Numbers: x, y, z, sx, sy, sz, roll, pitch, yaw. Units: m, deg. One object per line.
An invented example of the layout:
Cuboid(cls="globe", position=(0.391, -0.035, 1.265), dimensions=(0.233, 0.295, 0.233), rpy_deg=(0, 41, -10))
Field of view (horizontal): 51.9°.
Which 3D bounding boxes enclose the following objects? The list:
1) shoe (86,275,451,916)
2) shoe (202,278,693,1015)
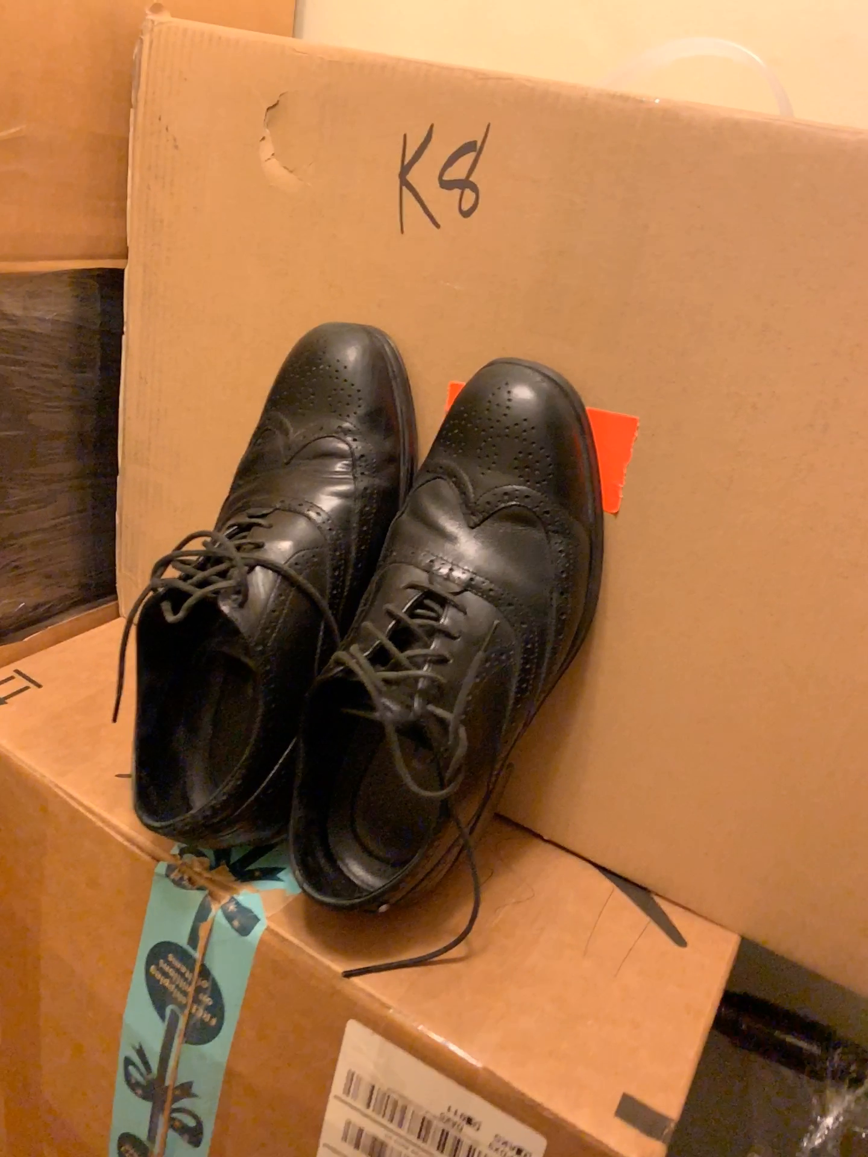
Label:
Cuboid(cls="shoe", position=(-0.083, 0.002, 0.457), dimensions=(0.120, 0.280, 0.100), rpy_deg=(10, 7, 21))
Cuboid(cls="shoe", position=(0.005, 0.027, 0.411), dimensions=(0.120, 0.279, 0.100), rpy_deg=(22, 12, 20))
